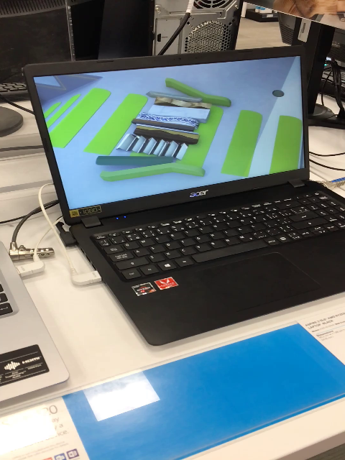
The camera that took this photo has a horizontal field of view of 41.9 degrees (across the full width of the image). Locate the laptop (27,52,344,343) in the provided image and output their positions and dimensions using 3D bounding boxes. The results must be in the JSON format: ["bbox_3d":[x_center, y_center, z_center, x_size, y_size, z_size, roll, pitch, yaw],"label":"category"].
[{"bbox_3d":[0.081,-0.072,0.535,0.376,0.192,0.299,-14,41,-22],"label":"laptop"}]
